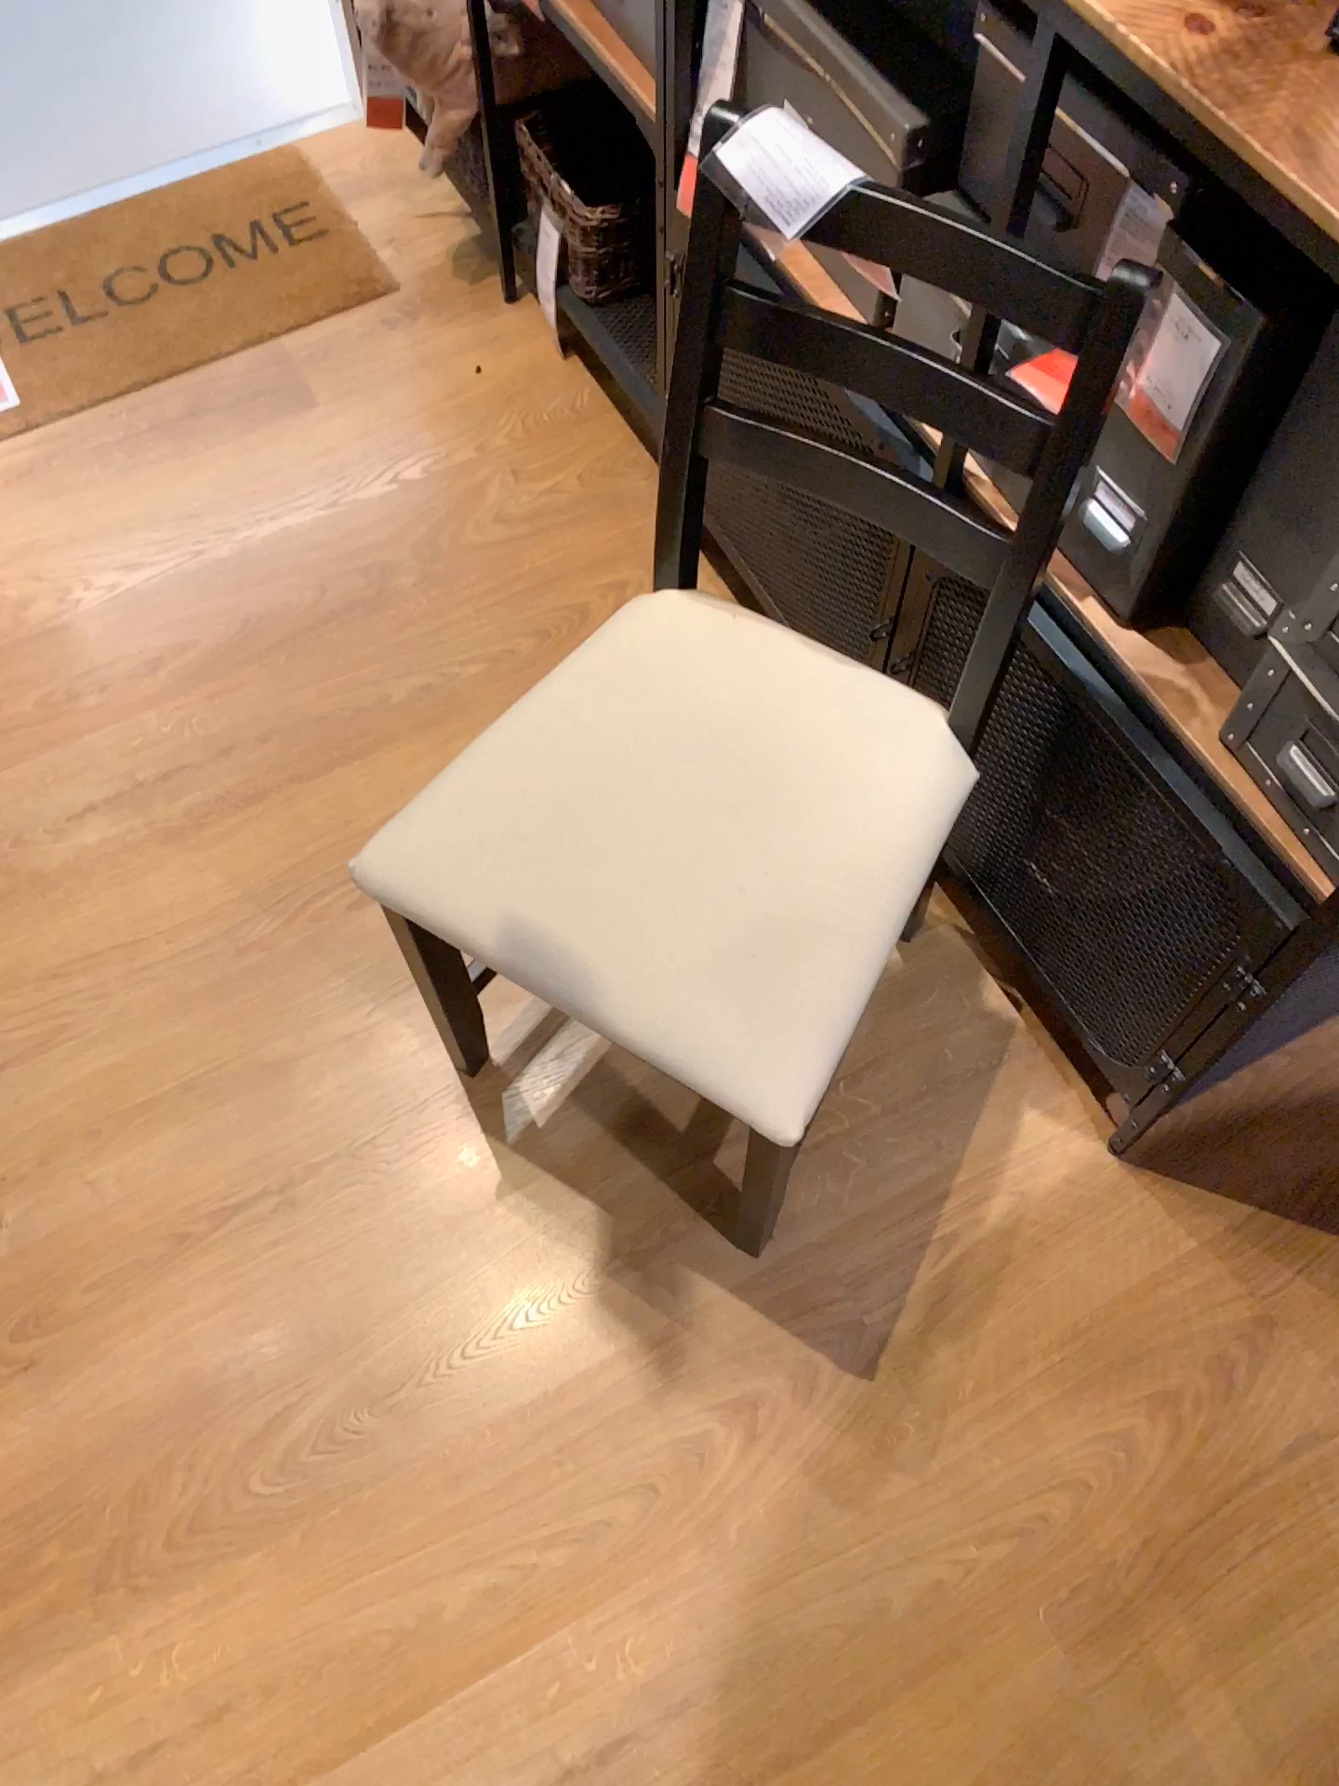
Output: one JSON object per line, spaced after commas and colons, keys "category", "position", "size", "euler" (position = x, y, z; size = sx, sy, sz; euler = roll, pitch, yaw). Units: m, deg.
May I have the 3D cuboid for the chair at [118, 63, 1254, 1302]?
{"category": "chair", "position": [0.035, -0.091, 1.119], "size": [0.430, 0.769, 0.540], "euler": [29, 66, 15]}
